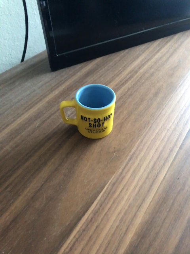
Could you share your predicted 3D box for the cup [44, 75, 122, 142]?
[{"bbox_3d":[-0.017,-0.026,0.282,0.090,0.060,0.060,-4,48,-5],"label":"cup"}]
